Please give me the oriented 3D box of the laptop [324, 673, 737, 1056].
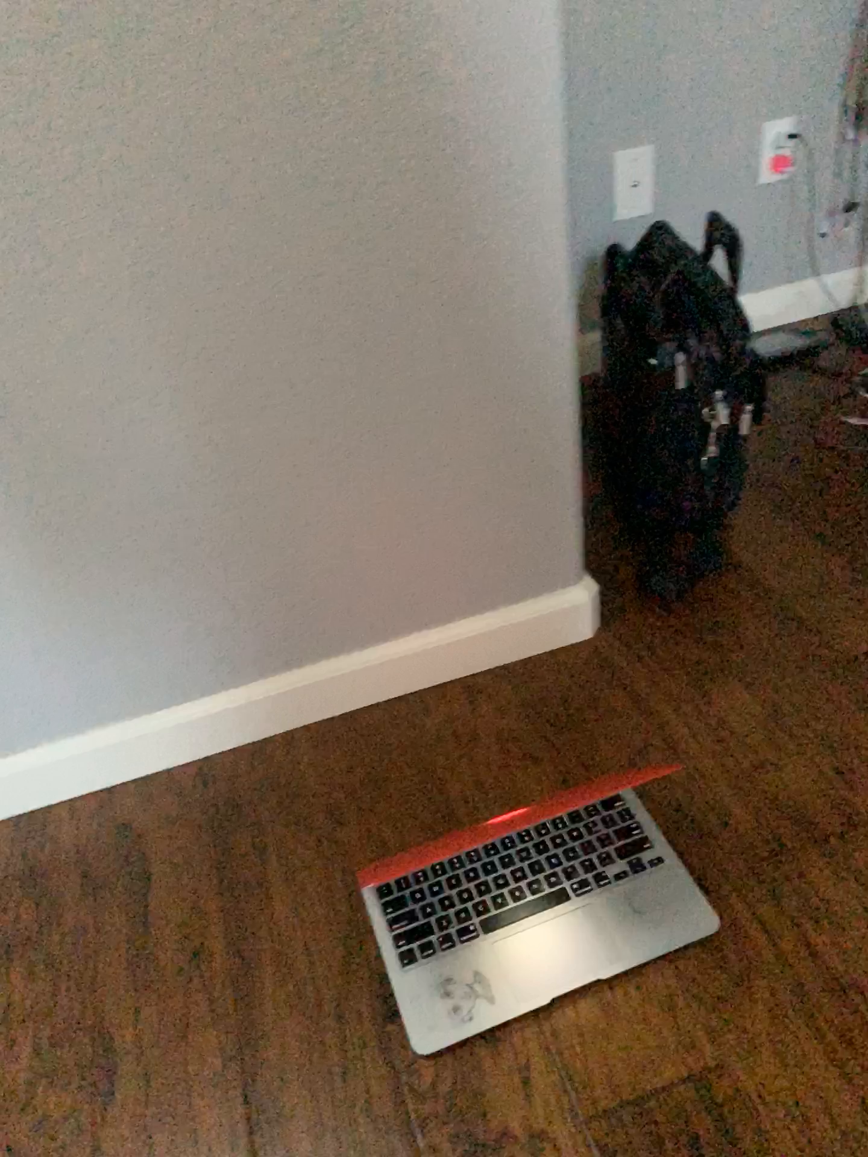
[{"bbox_3d":[0.082,0.245,0.805,0.301,0.139,0.199,-17,37,-13],"label":"laptop"}]
